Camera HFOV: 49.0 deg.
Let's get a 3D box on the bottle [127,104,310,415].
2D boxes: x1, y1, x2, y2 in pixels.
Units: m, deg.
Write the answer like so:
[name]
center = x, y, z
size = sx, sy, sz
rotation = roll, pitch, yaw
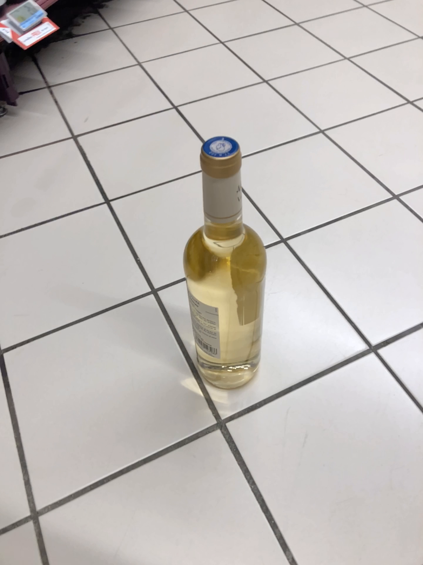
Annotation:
[bottle]
center = 0.007, 0.003, 0.426
size = 0.090, 0.288, 0.090
rotation = -1, 51, 1
